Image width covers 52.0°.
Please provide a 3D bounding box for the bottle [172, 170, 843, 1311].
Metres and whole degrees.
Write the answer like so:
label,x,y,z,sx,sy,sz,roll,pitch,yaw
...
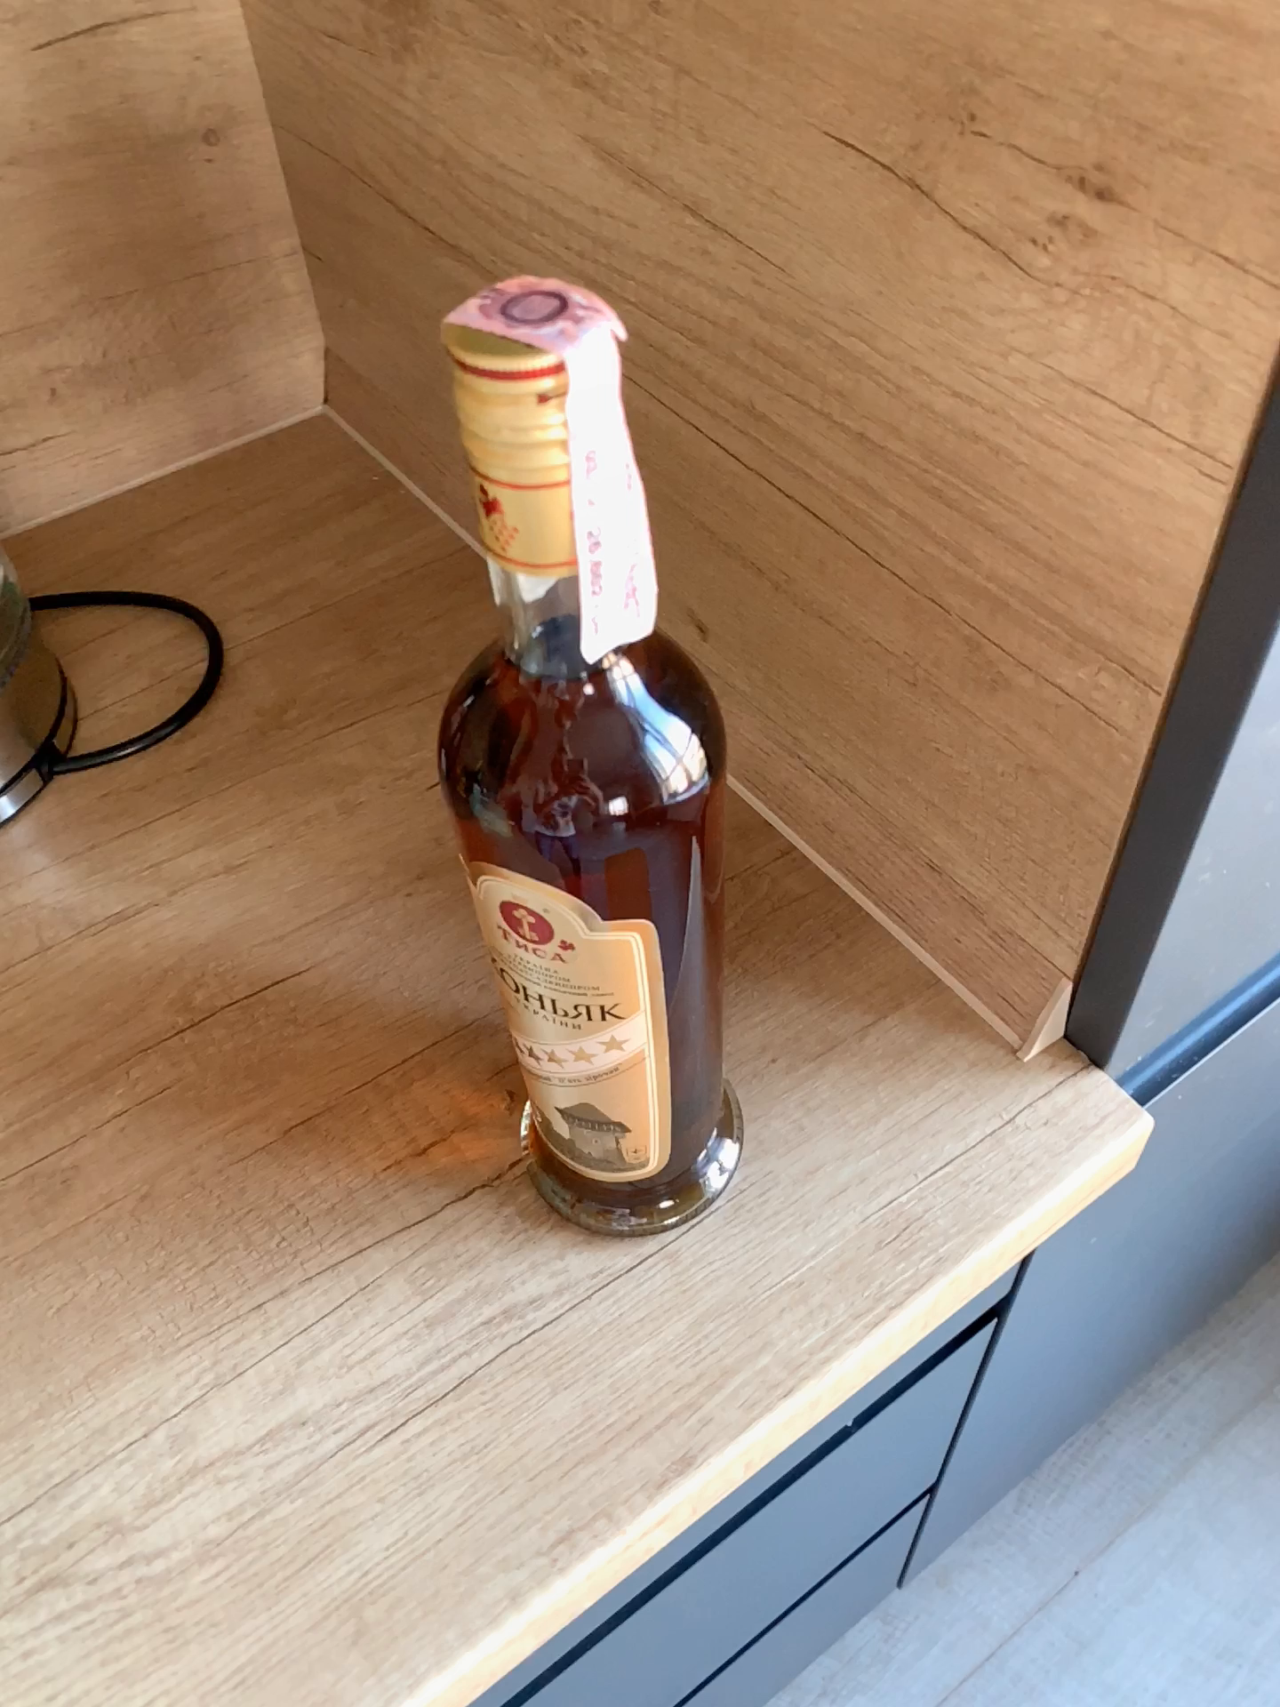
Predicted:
label,x,y,z,sx,sy,sz,roll,pitch,yaw
bottle,-0.012,0.005,0.309,0.080,0.279,0.070,20,53,20
